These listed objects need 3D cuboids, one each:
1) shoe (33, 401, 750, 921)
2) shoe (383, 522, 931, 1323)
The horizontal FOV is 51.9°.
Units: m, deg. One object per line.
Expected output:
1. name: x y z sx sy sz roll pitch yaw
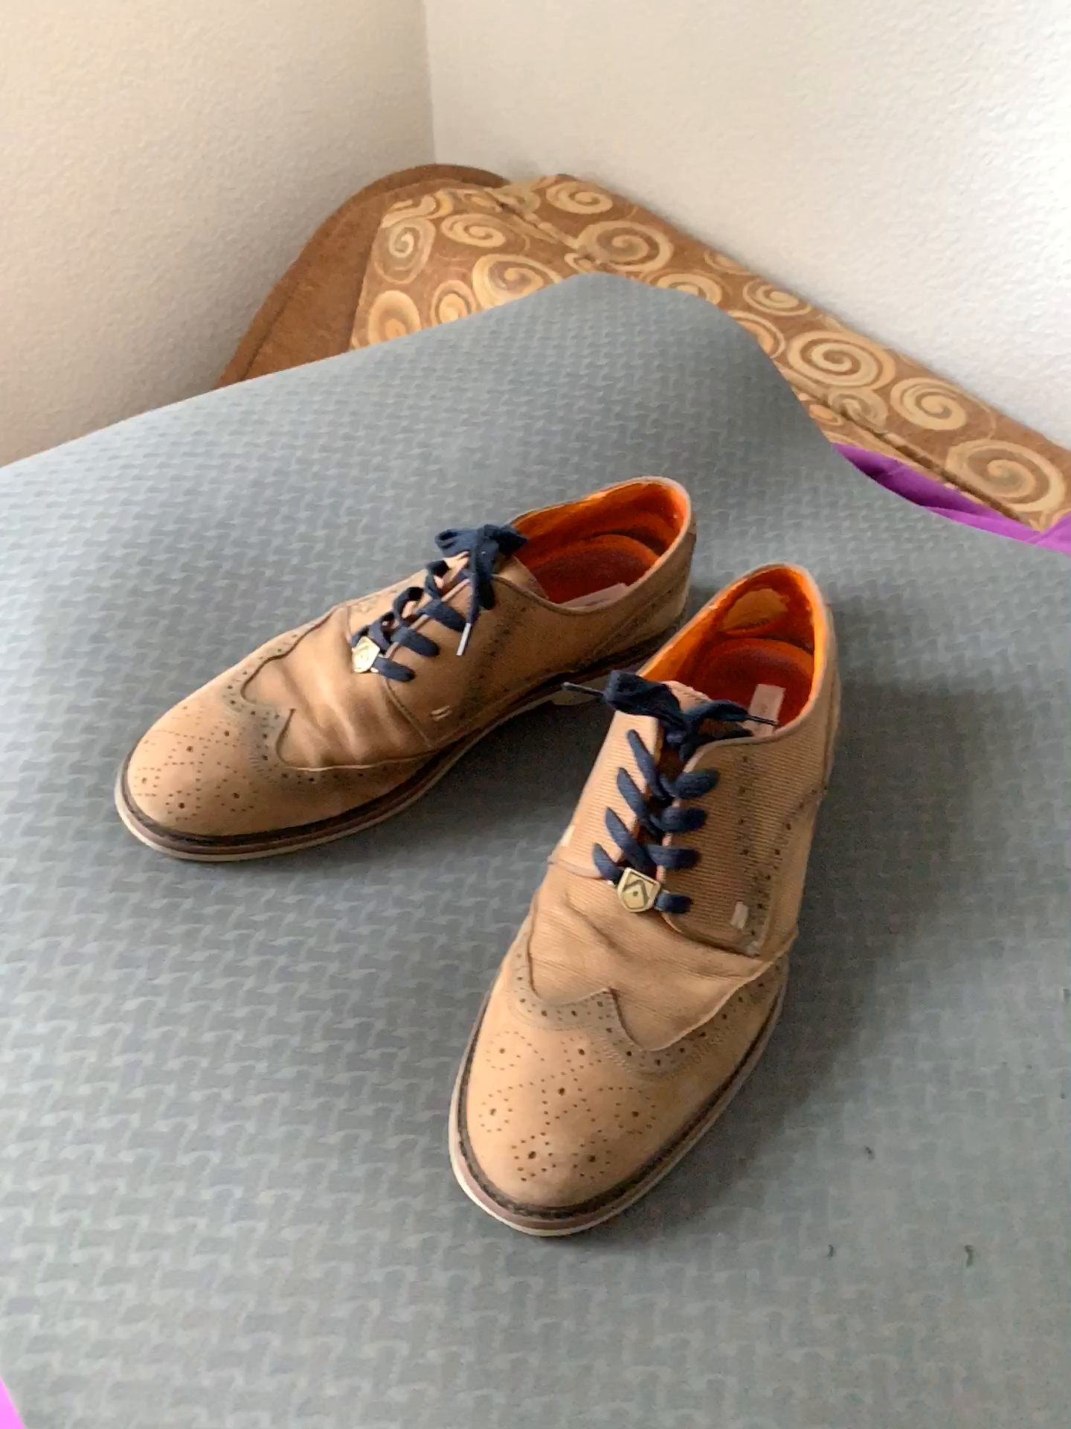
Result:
1. shoe: -0.058 -0.036 0.524 0.300 0.090 0.110 -26 57 -19
2. shoe: 0.062 0.062 0.443 0.110 0.090 0.291 20 54 14
